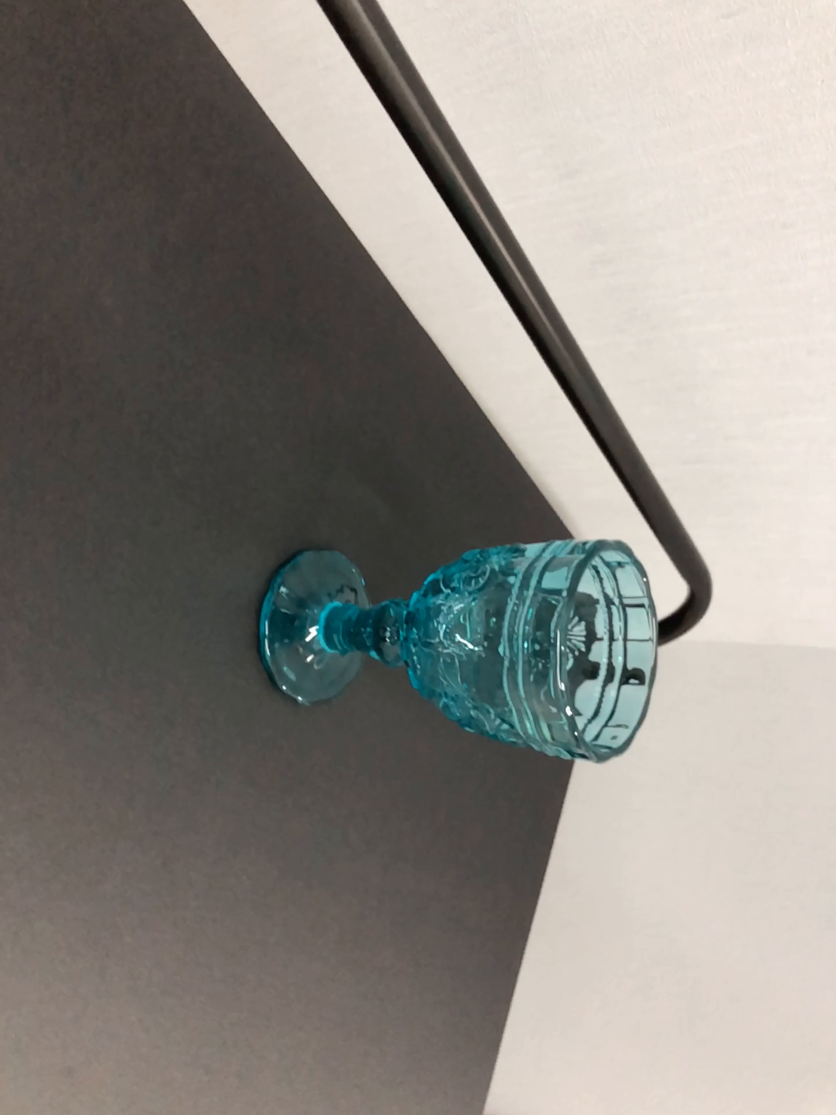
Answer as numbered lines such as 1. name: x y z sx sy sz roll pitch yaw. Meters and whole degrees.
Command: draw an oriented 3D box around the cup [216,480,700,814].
1. cup: 0.017 0.035 0.394 0.085 0.164 0.095 48 53 -42
